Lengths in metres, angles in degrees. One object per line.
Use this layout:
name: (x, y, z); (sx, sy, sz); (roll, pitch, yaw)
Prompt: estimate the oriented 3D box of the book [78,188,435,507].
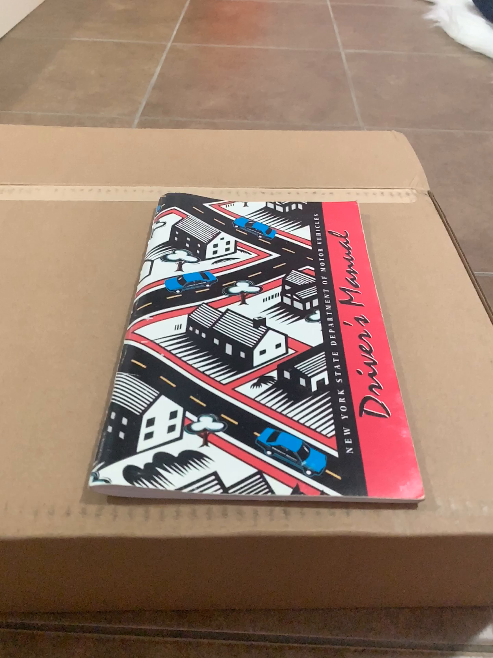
book: (0.006, -0.011, 0.266); (0.133, 0.013, 0.208); (2, 46, 0)
